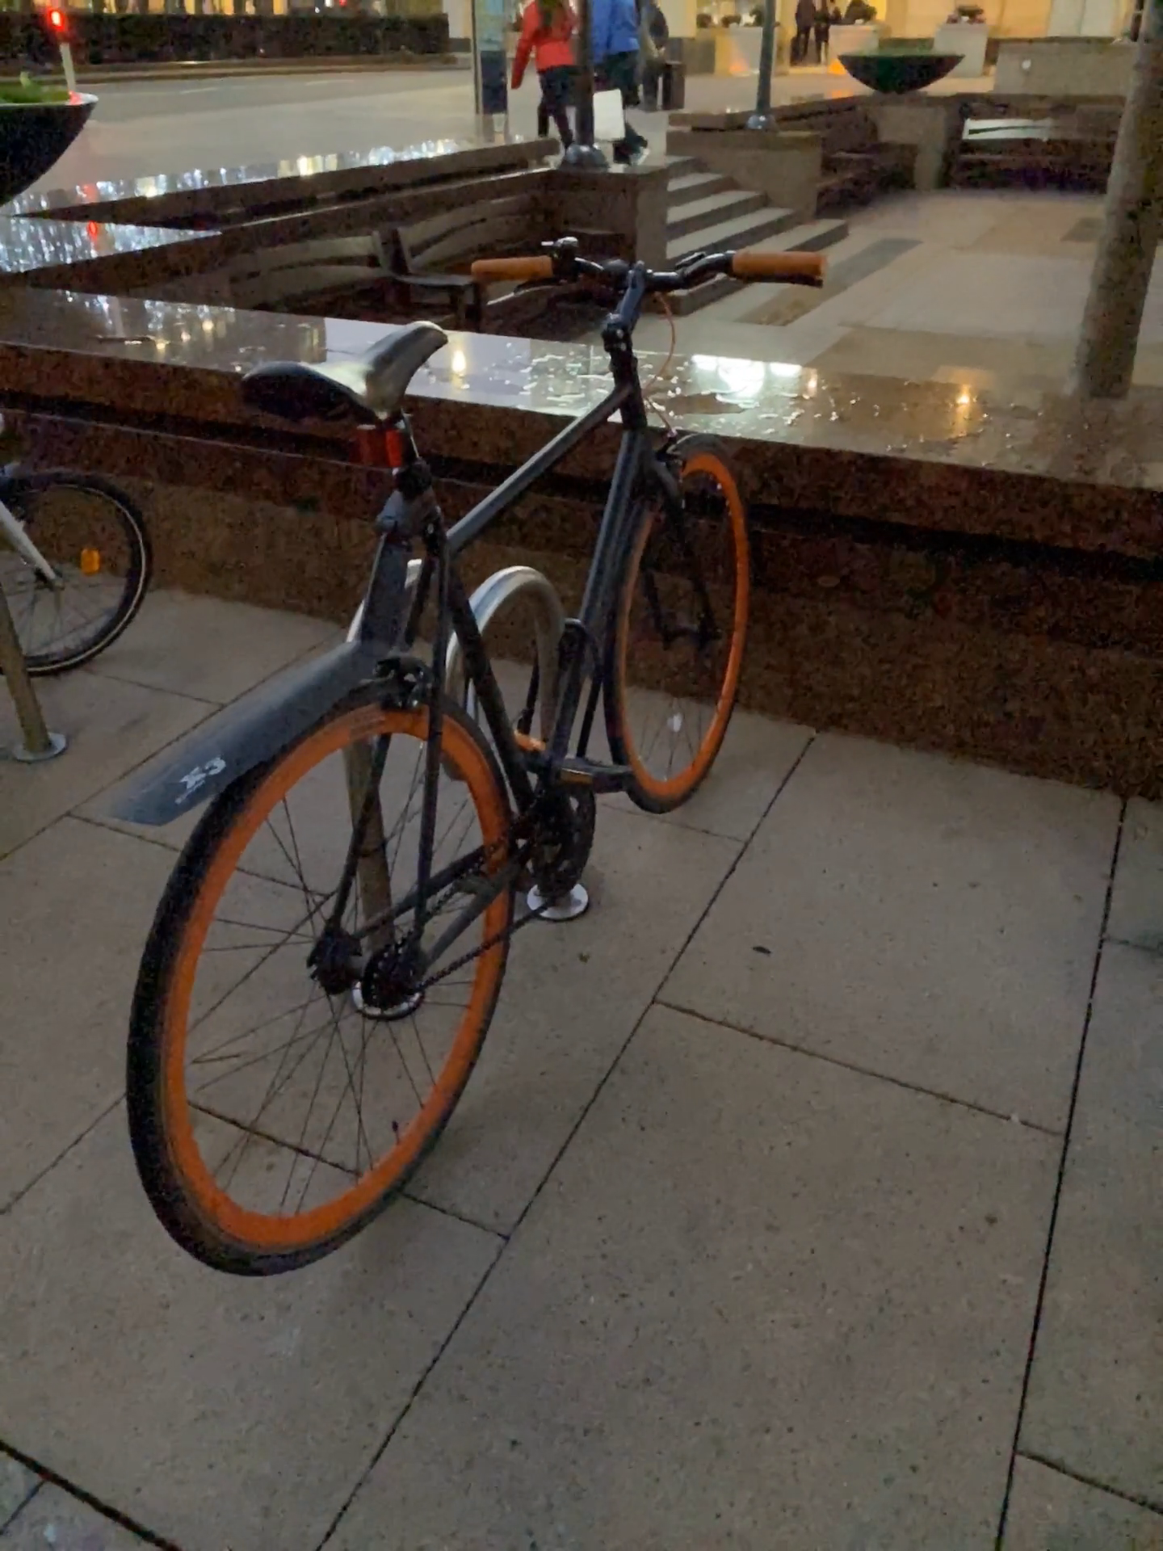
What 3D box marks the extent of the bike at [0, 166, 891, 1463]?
[{"bbox_3d":[-0.082,-0.198,1.671,0.524,0.981,1.647,14,36,22],"label":"bike"}]
